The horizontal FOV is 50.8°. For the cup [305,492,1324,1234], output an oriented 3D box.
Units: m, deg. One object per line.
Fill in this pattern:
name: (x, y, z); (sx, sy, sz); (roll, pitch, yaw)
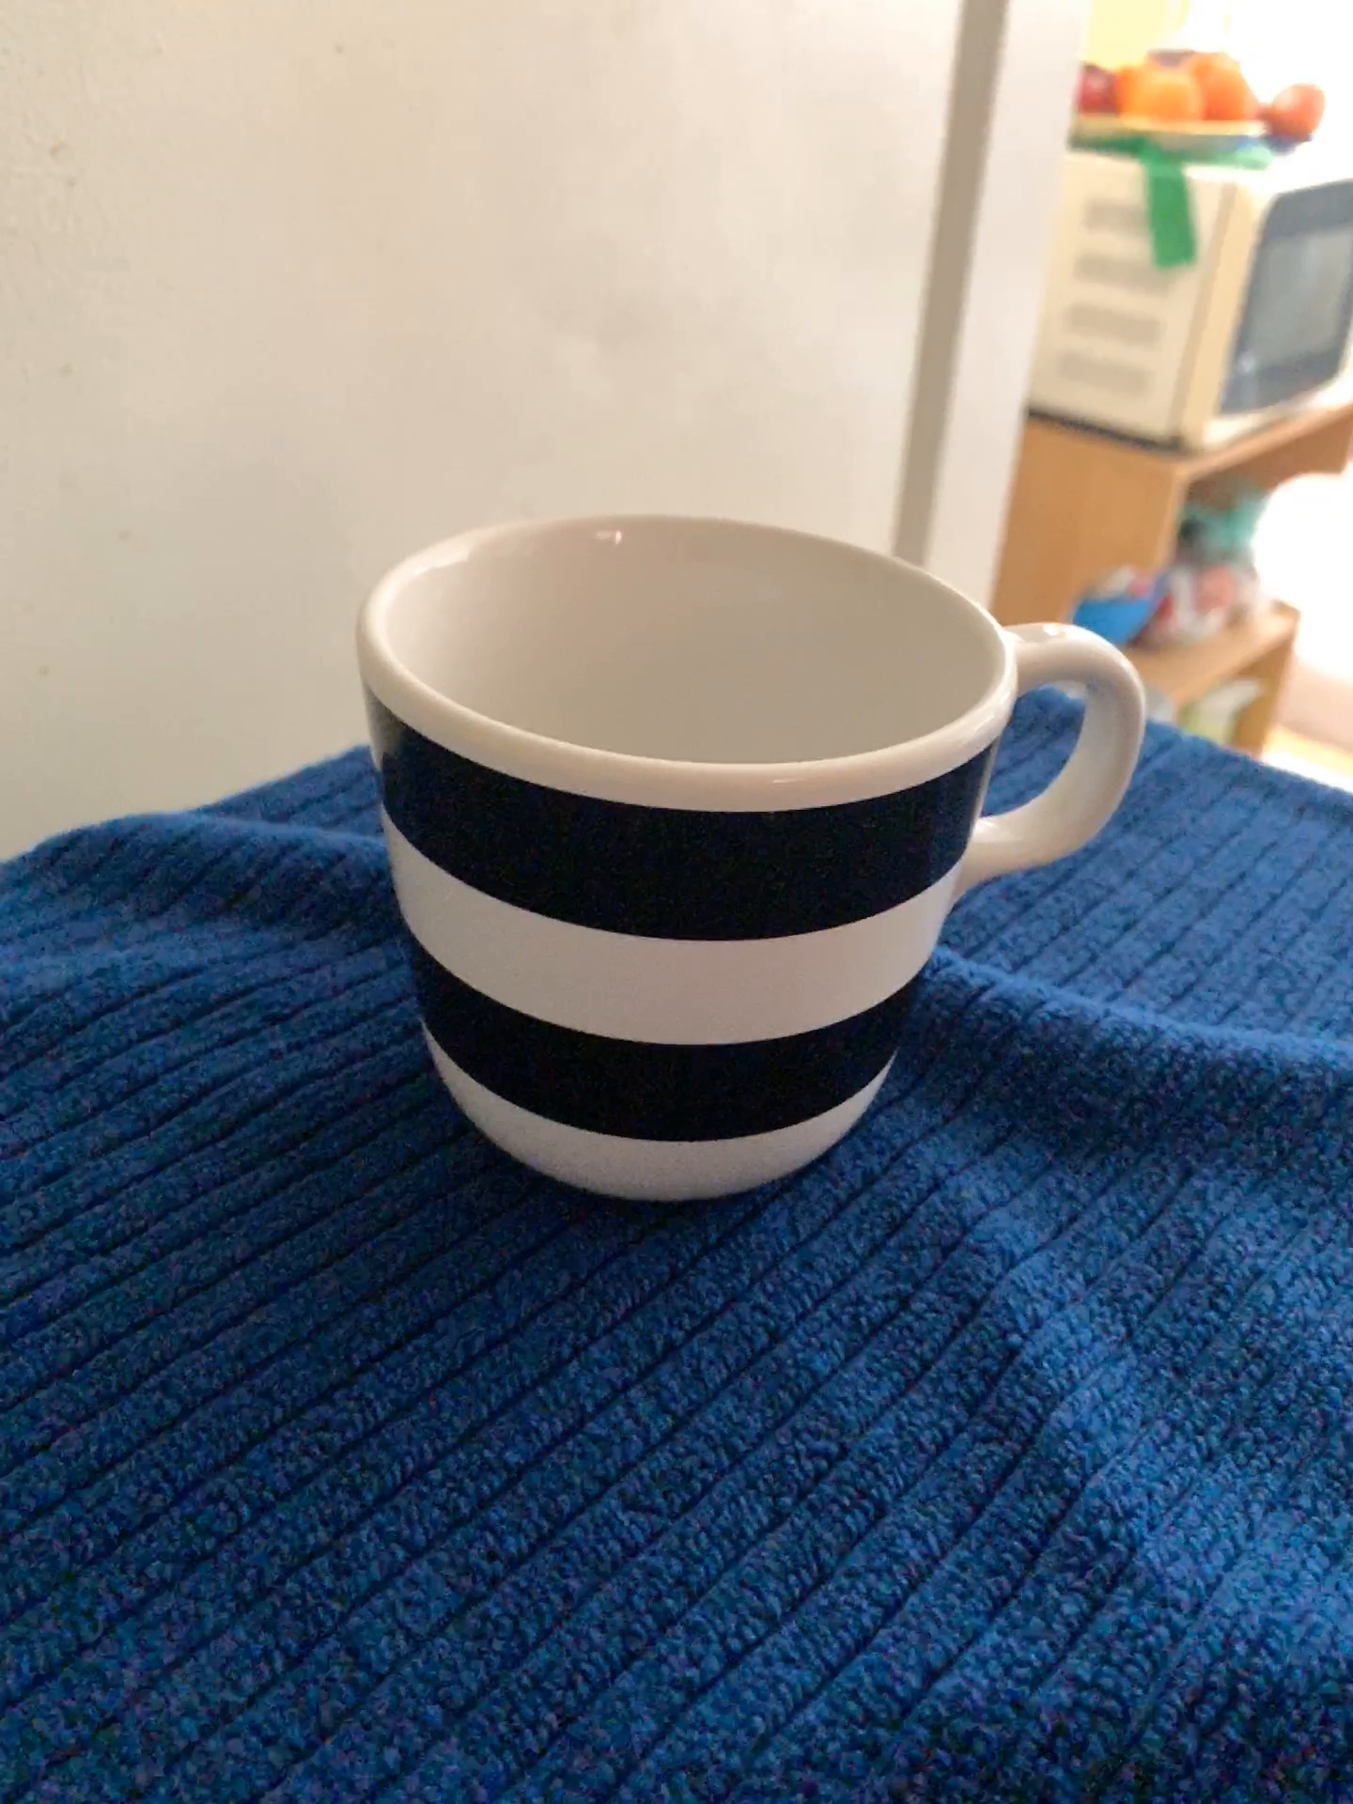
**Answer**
cup: (0.010, -0.013, 0.204); (0.113, 0.057, 0.085); (-7, 37, -14)
